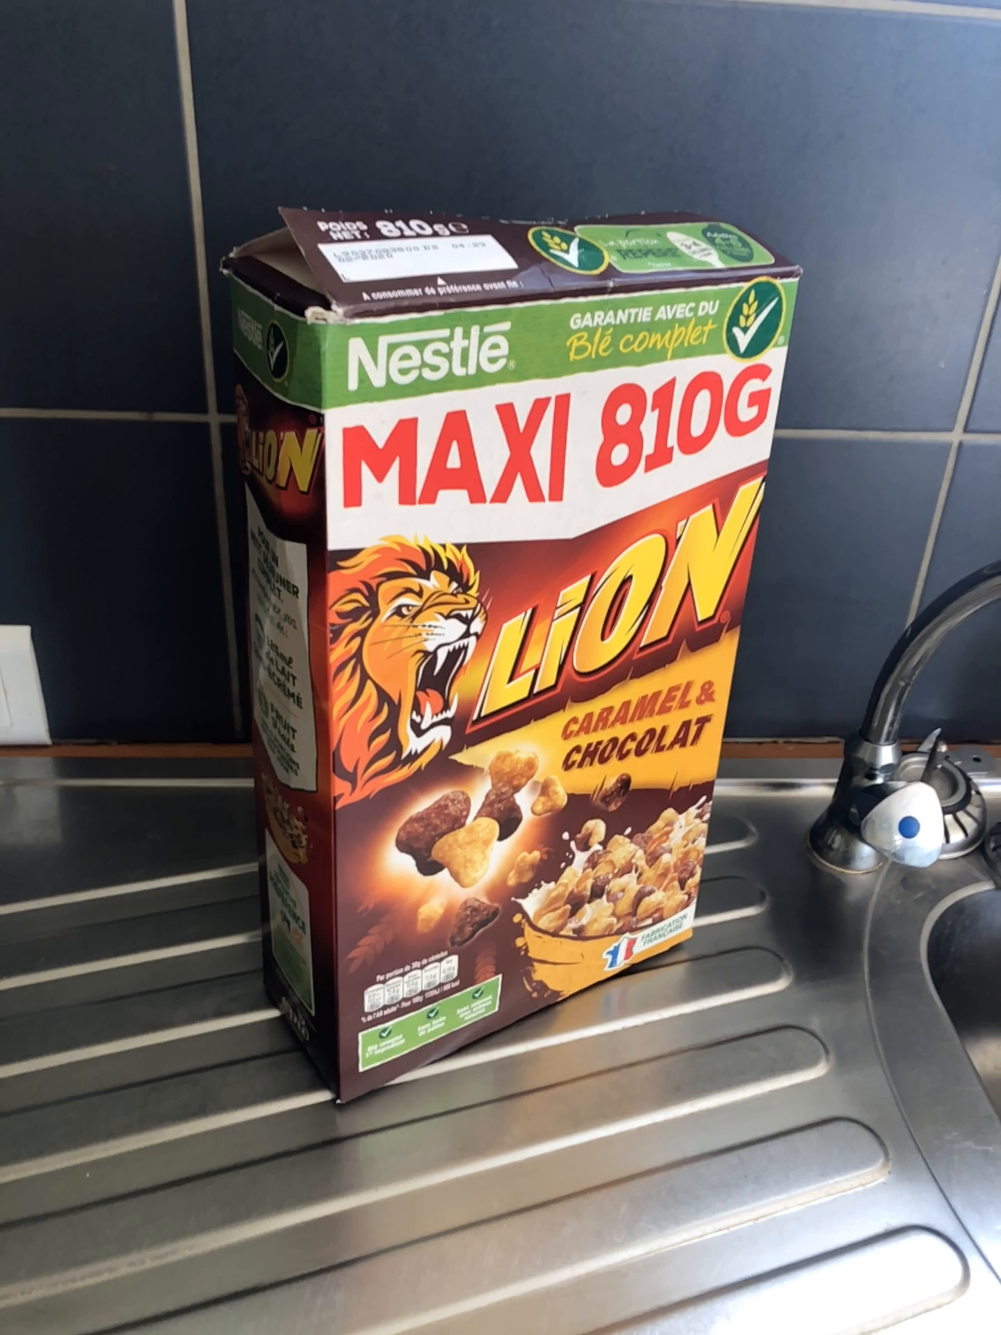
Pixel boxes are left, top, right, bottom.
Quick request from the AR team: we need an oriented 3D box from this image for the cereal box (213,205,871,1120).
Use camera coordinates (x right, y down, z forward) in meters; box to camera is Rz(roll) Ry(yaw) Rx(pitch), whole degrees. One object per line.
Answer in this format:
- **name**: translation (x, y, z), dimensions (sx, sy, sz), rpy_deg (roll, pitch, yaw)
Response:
- **cereal box**: translation (0.010, -0.002, 0.432), dimensions (0.201, 0.318, 0.080), rpy_deg (-15, 35, -29)
